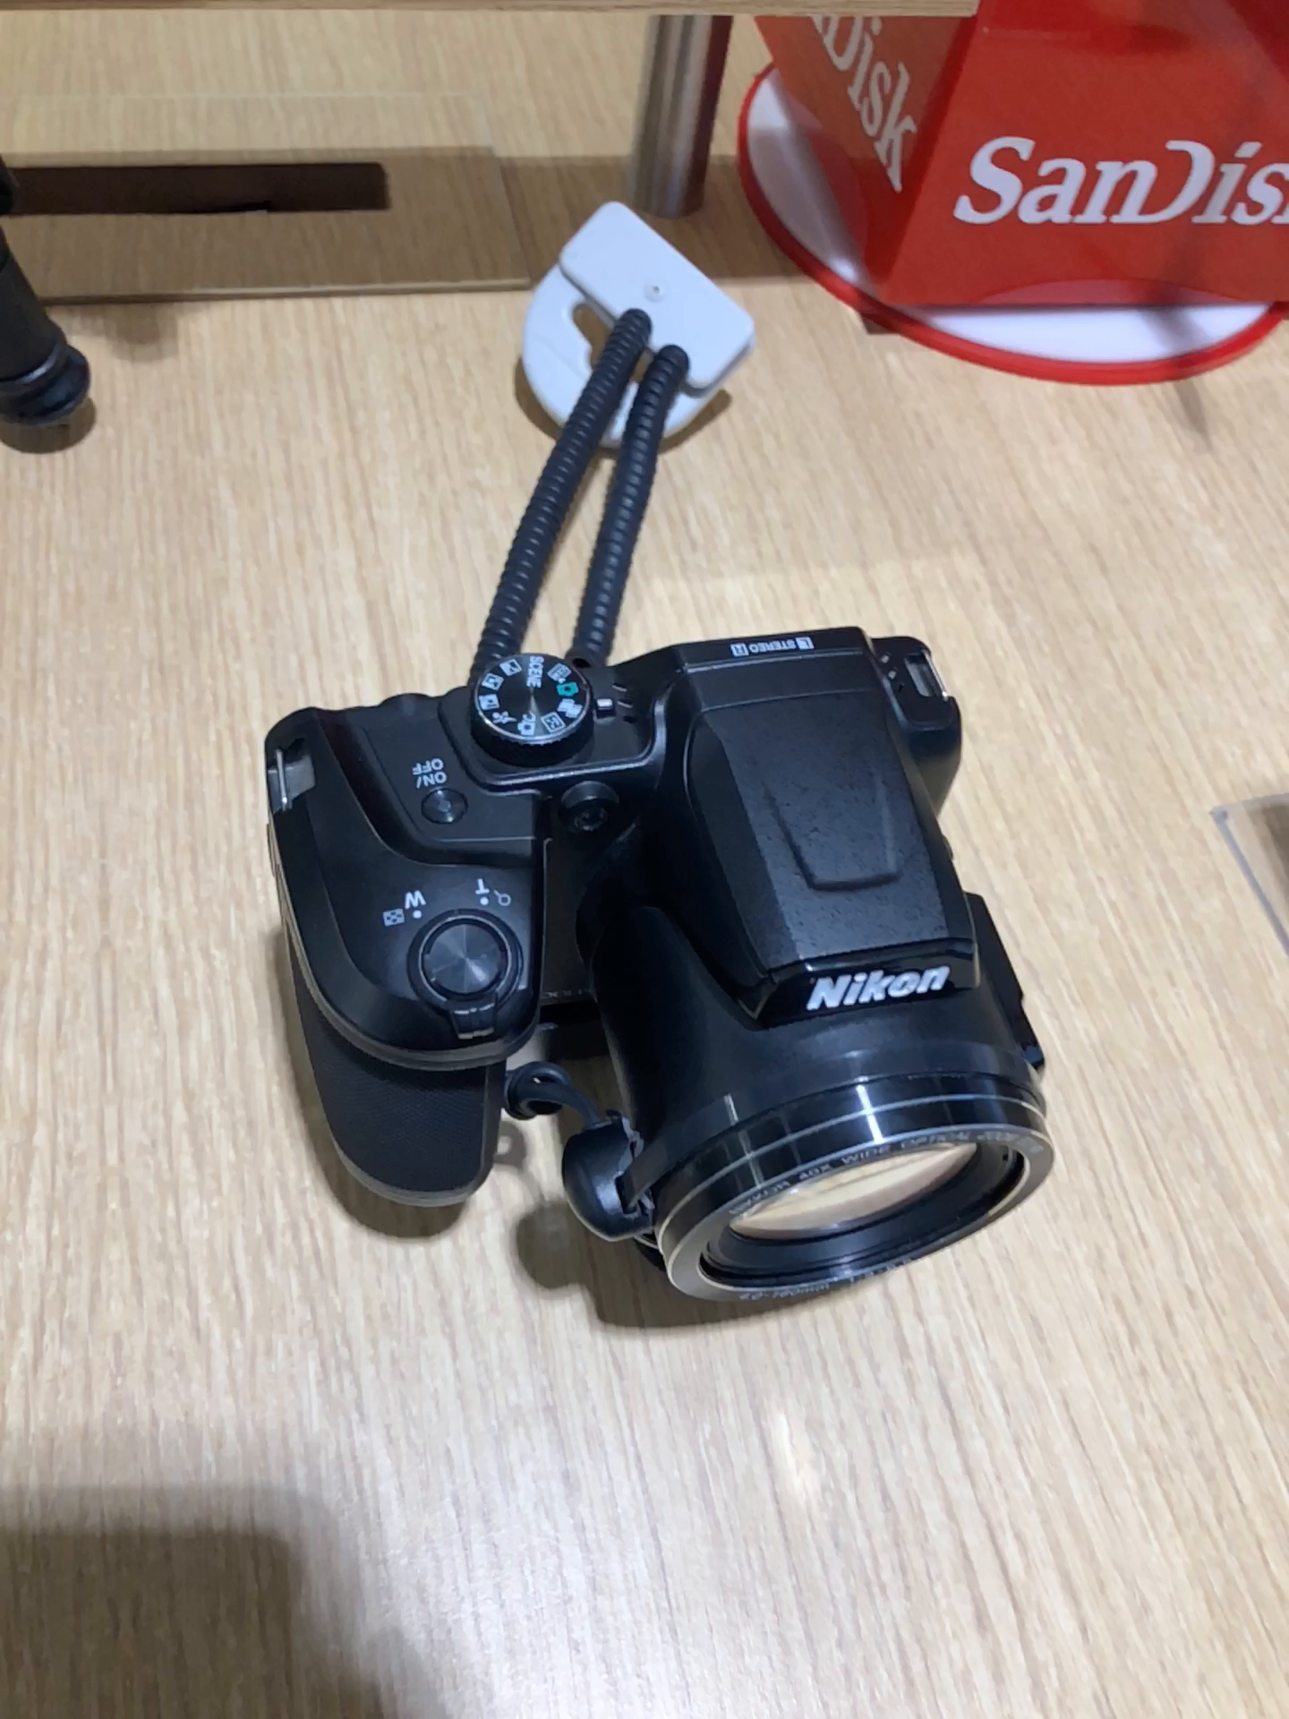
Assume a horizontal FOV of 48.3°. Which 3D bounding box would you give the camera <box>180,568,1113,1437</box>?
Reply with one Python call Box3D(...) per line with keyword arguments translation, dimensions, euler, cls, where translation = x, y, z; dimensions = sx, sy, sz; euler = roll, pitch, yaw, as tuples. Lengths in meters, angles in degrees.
Box3D(translation=(-0.008, 0.020, 0.218), dimensions=(0.103, 0.070, 0.093), euler=(-9, 59, -14), cls="camera")
